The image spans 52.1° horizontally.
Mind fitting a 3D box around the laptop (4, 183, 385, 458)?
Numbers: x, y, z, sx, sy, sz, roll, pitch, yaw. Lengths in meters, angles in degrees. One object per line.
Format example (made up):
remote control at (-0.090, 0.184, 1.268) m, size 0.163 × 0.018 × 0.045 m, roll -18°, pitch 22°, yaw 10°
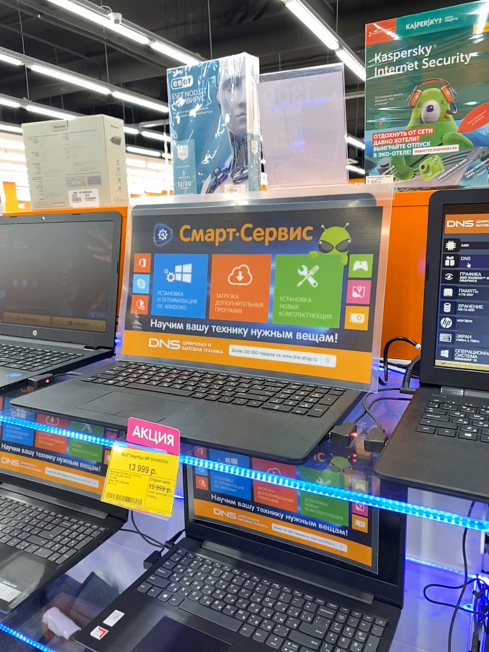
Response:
laptop at (-0.050, -0.035, 0.625) m, size 0.377 × 0.235 × 0.262 m, roll 4°, pitch 12°, yaw 28°
